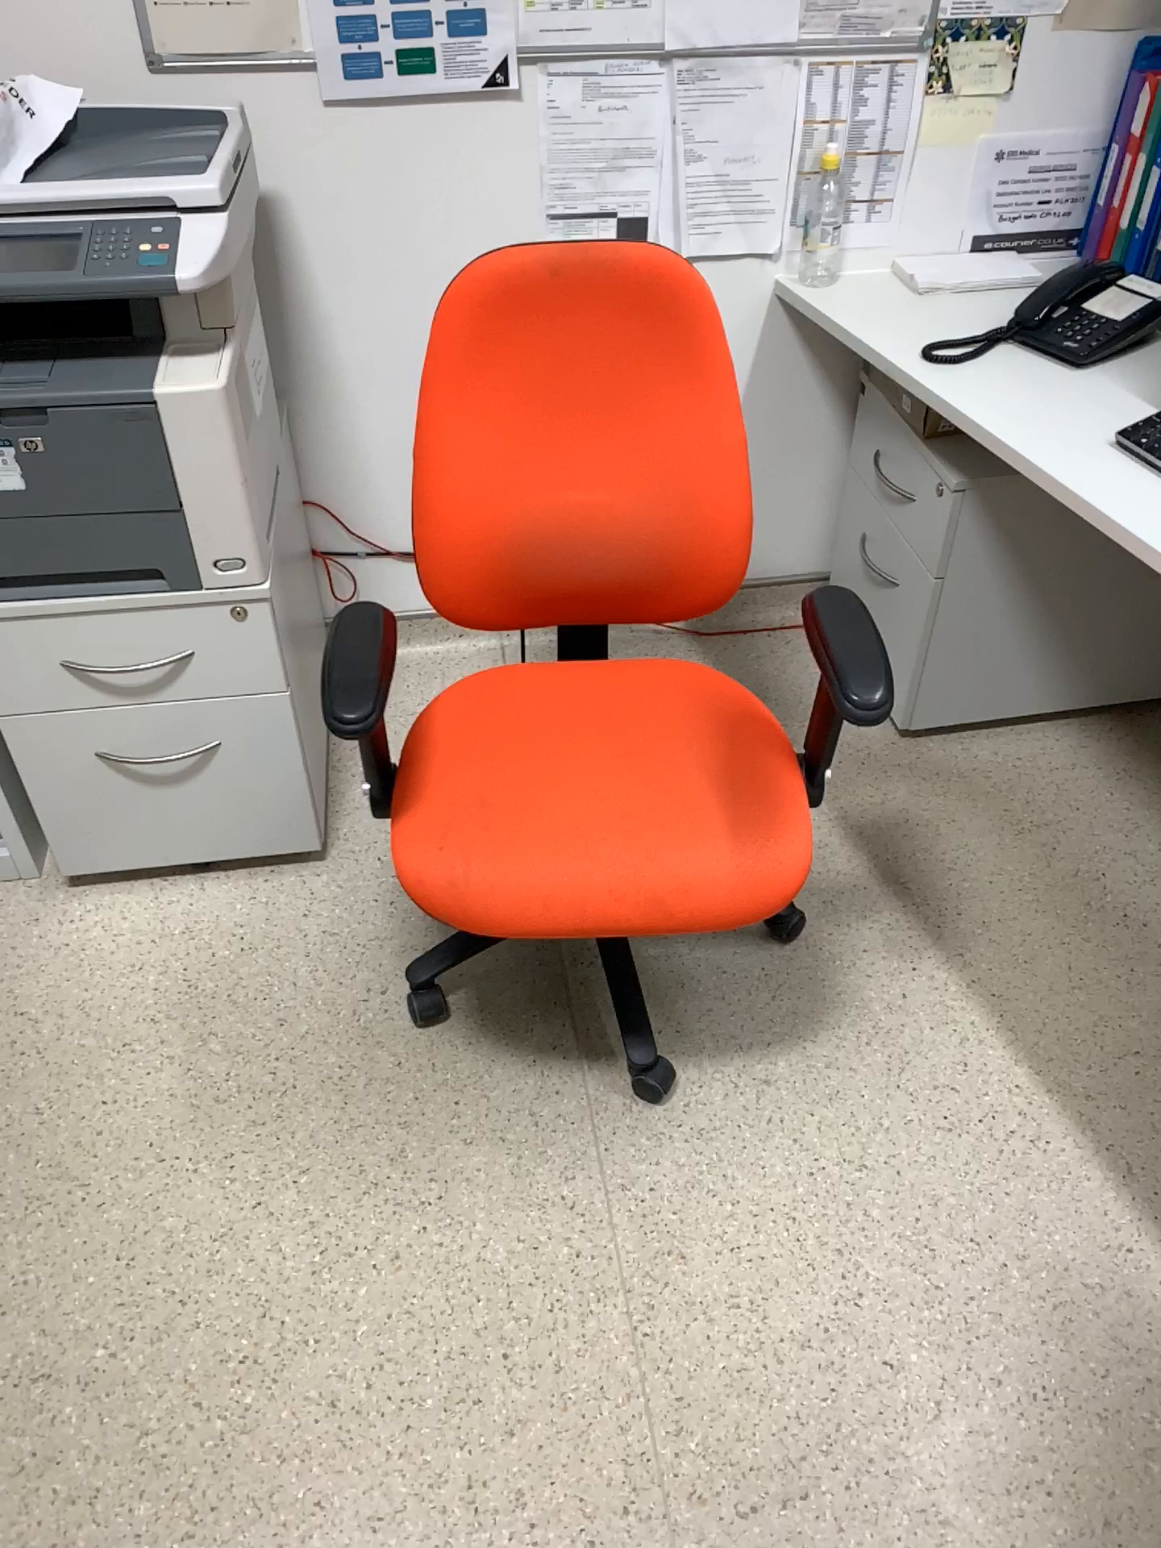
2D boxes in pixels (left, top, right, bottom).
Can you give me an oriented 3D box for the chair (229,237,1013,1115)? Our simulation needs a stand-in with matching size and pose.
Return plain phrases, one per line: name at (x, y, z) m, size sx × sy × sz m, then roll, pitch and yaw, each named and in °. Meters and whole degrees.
chair at (0.027, -0.116, 1.529) m, size 0.650 × 0.893 × 0.691 m, roll -1°, pitch 41°, yaw -1°
